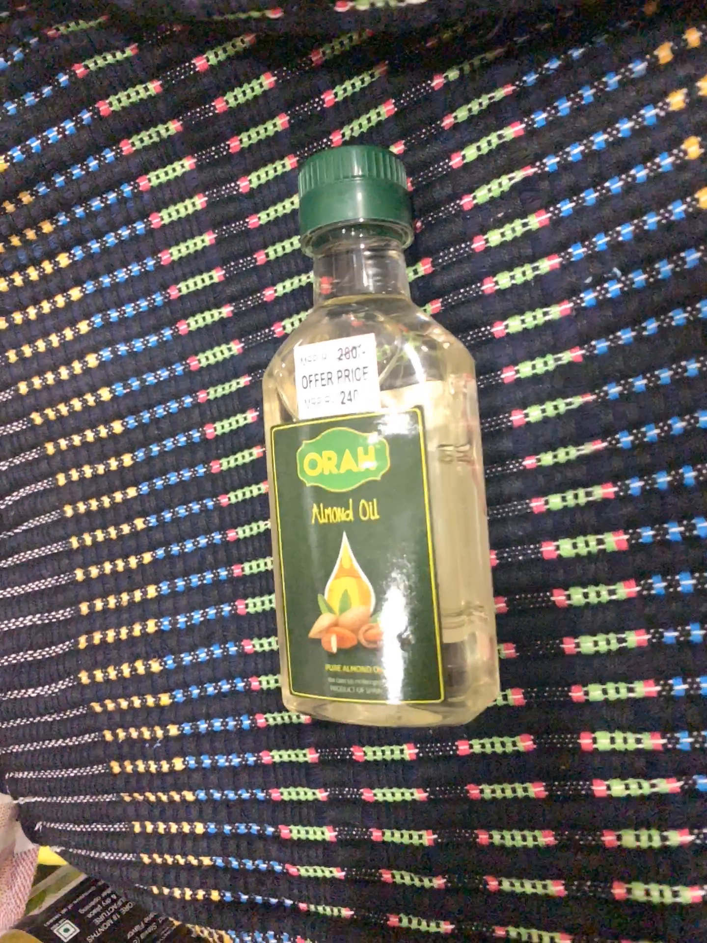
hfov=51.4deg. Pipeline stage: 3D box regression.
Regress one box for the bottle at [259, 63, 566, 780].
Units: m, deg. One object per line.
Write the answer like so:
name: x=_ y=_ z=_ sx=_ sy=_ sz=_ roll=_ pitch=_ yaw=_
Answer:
bottle: x=0.013 y=-0.010 z=0.181 sx=0.060 sy=0.030 sz=0.150 roll=-5 pitch=85 yaw=32
